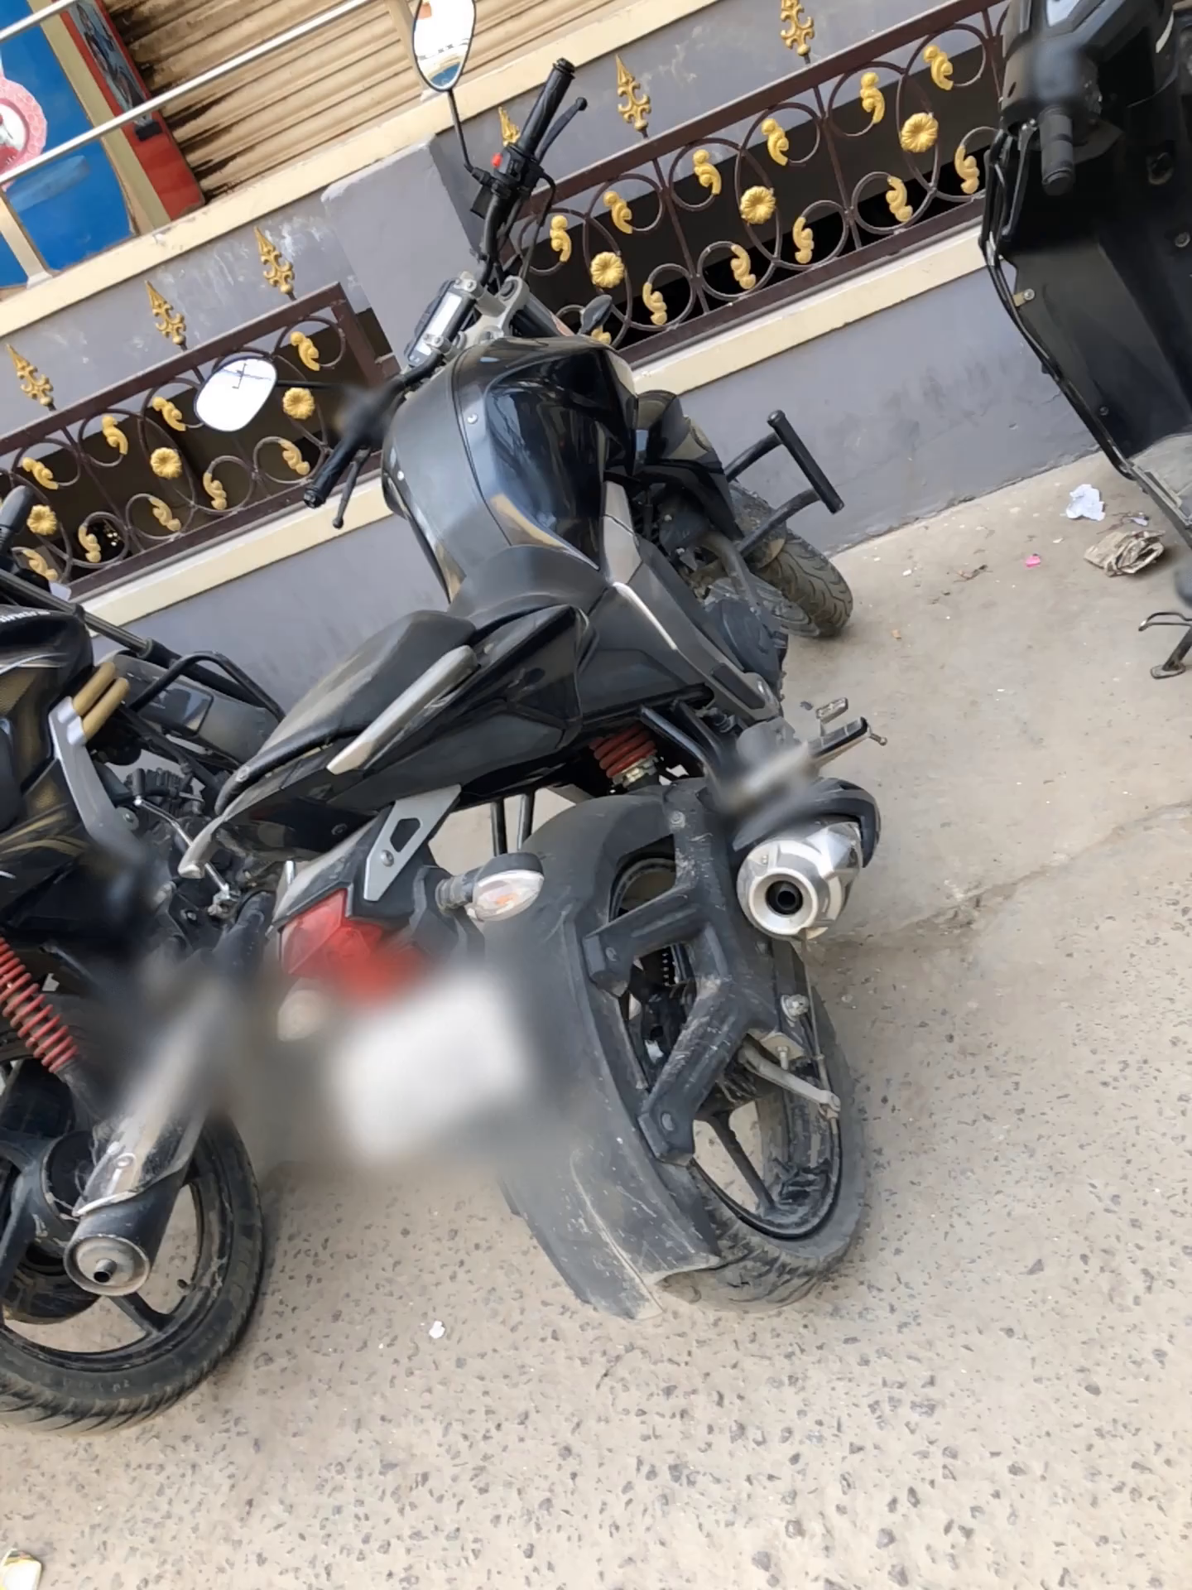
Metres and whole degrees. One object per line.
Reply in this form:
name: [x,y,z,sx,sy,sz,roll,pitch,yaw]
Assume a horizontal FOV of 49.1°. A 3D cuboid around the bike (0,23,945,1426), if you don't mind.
bike: [-0.178,-0.283,1.929,0.693,1.197,1.766,-18,32,13]
